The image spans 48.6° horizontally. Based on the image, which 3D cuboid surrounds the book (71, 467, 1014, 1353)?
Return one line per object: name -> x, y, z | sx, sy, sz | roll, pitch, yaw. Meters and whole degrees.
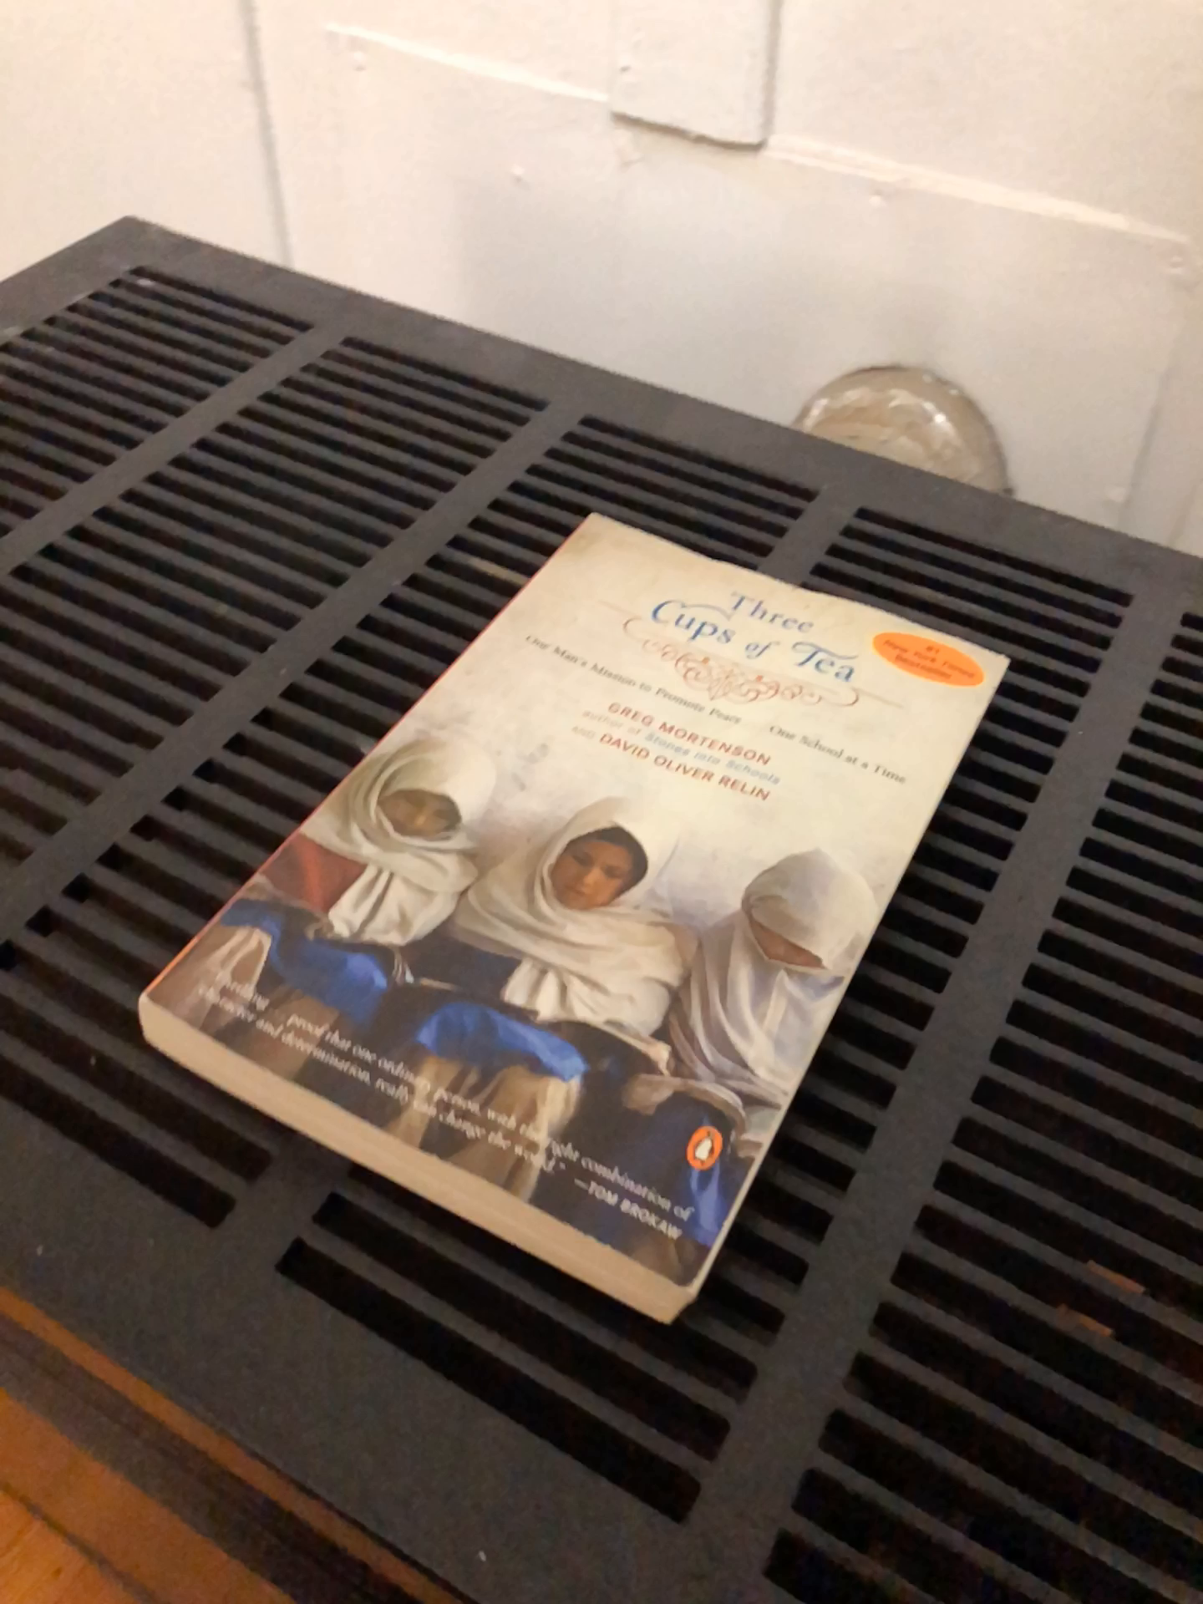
book -> 0.002, 0.001, 0.334 | 0.140, 0.030, 0.221 | 21, 49, 17
